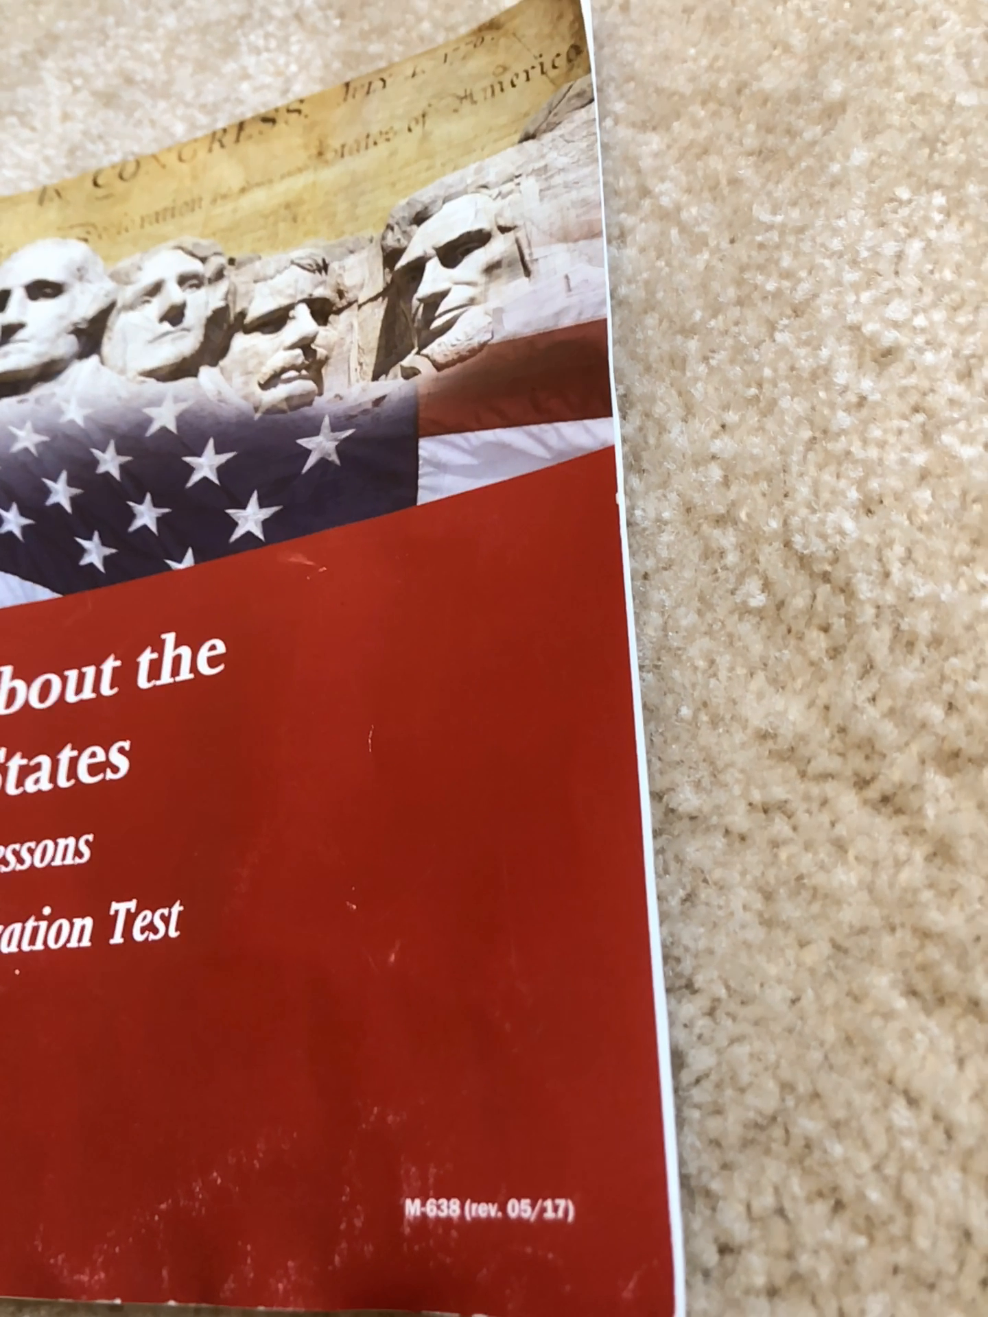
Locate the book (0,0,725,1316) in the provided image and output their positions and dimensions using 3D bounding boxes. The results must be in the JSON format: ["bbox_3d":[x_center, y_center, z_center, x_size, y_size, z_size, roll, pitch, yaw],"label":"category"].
[{"bbox_3d":[-0.070,-0.015,0.240,0.208,0.028,0.274,-10,62,19],"label":"book"}]
